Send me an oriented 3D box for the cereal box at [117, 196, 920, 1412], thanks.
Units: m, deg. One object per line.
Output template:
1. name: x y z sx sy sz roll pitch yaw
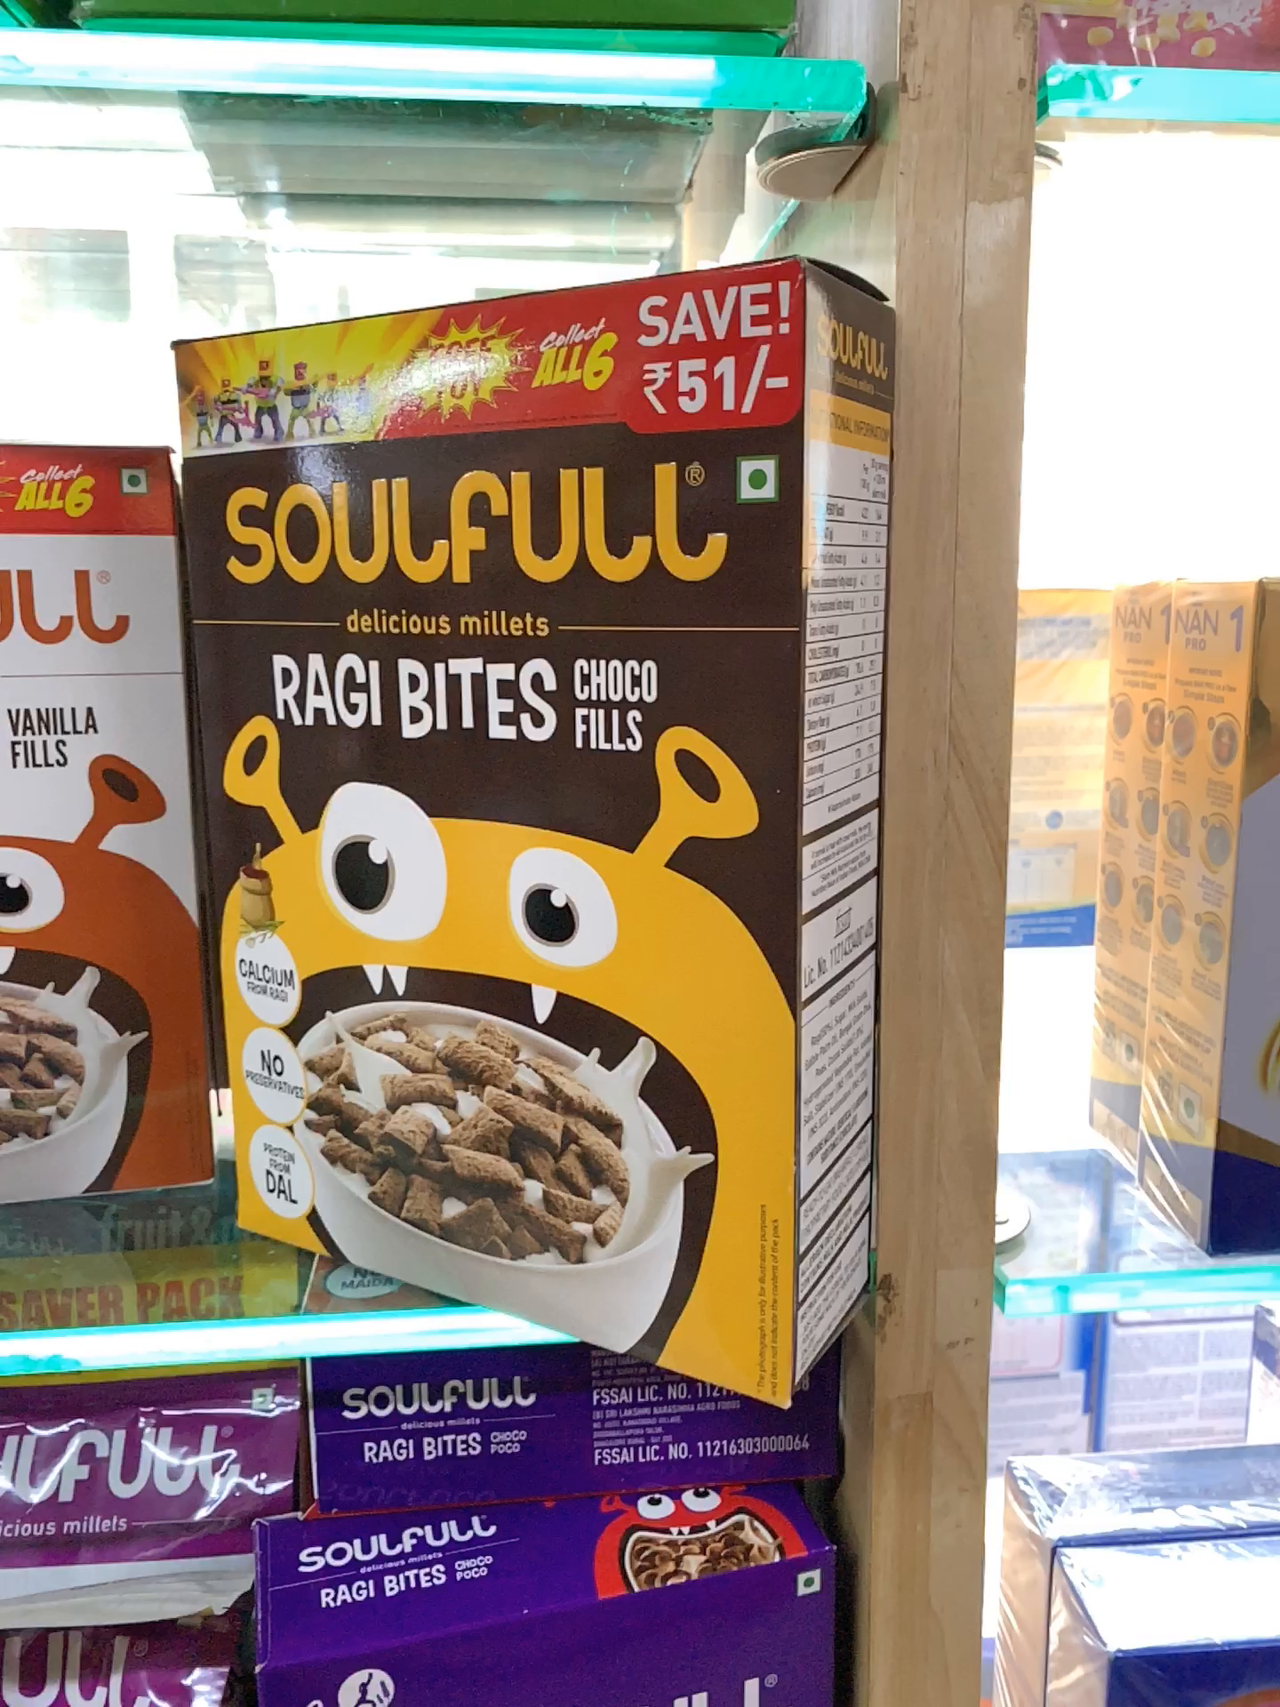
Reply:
1. cereal box: -0.034 -0.014 0.333 0.190 0.239 0.060 6 12 31
